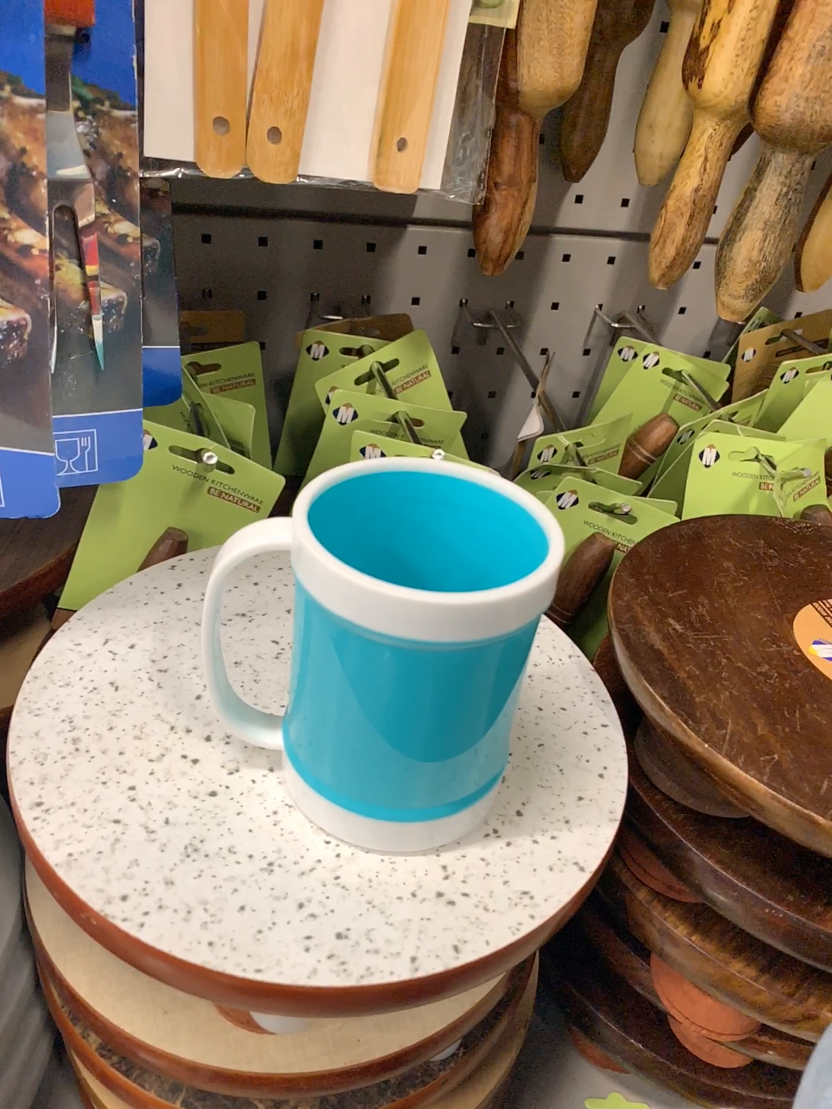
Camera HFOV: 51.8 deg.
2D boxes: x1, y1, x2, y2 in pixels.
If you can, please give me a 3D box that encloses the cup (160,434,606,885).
[{"bbox_3d":[-0.014,0.034,0.273,0.110,0.110,0.080,5,32,-5],"label":"cup"}]
